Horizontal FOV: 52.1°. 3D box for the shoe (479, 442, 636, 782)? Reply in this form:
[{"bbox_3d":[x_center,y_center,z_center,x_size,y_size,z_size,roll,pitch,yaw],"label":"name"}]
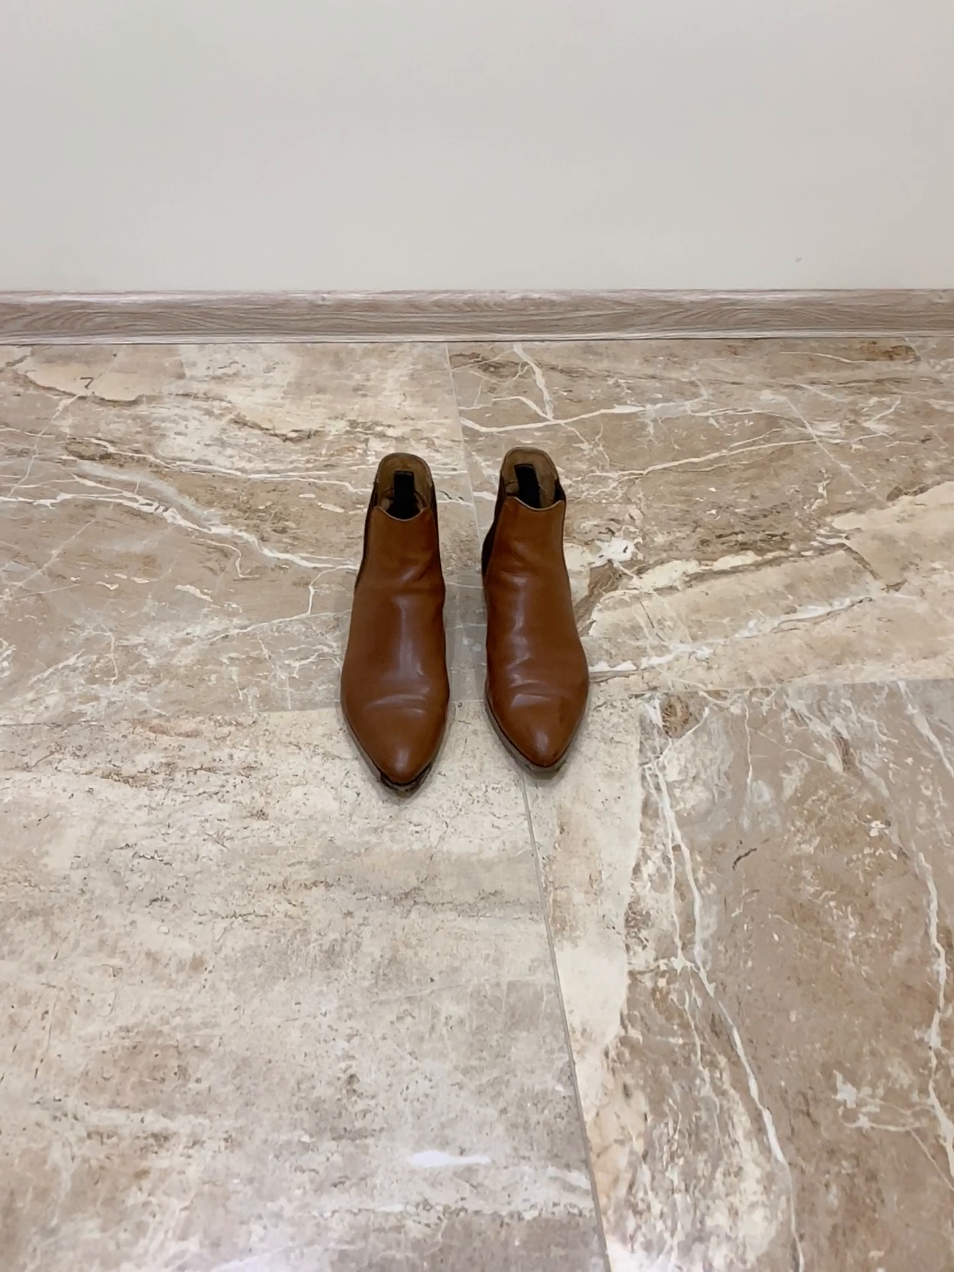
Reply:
[{"bbox_3d":[0.051,-0.027,0.750,0.090,0.119,0.252,2,44,-3],"label":"shoe"}]

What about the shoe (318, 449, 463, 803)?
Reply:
[{"bbox_3d":[-0.066,-0.016,0.740,0.090,0.129,0.252,-1,45,-5],"label":"shoe"}]
